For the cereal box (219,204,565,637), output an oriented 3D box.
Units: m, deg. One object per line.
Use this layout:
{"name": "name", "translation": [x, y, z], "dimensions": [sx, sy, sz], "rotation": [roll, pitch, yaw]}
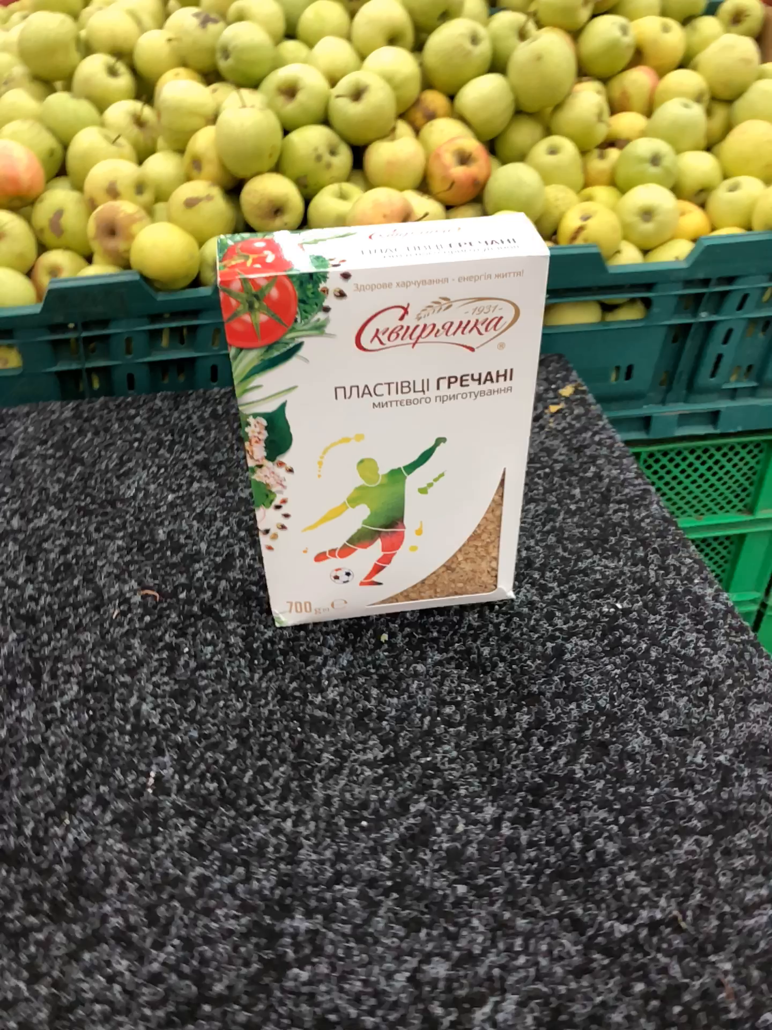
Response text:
{"name": "cereal box", "translation": [0.003, -0.043, 0.488], "dimensions": [0.160, 0.238, 0.060], "rotation": [-6, 39, -5]}
